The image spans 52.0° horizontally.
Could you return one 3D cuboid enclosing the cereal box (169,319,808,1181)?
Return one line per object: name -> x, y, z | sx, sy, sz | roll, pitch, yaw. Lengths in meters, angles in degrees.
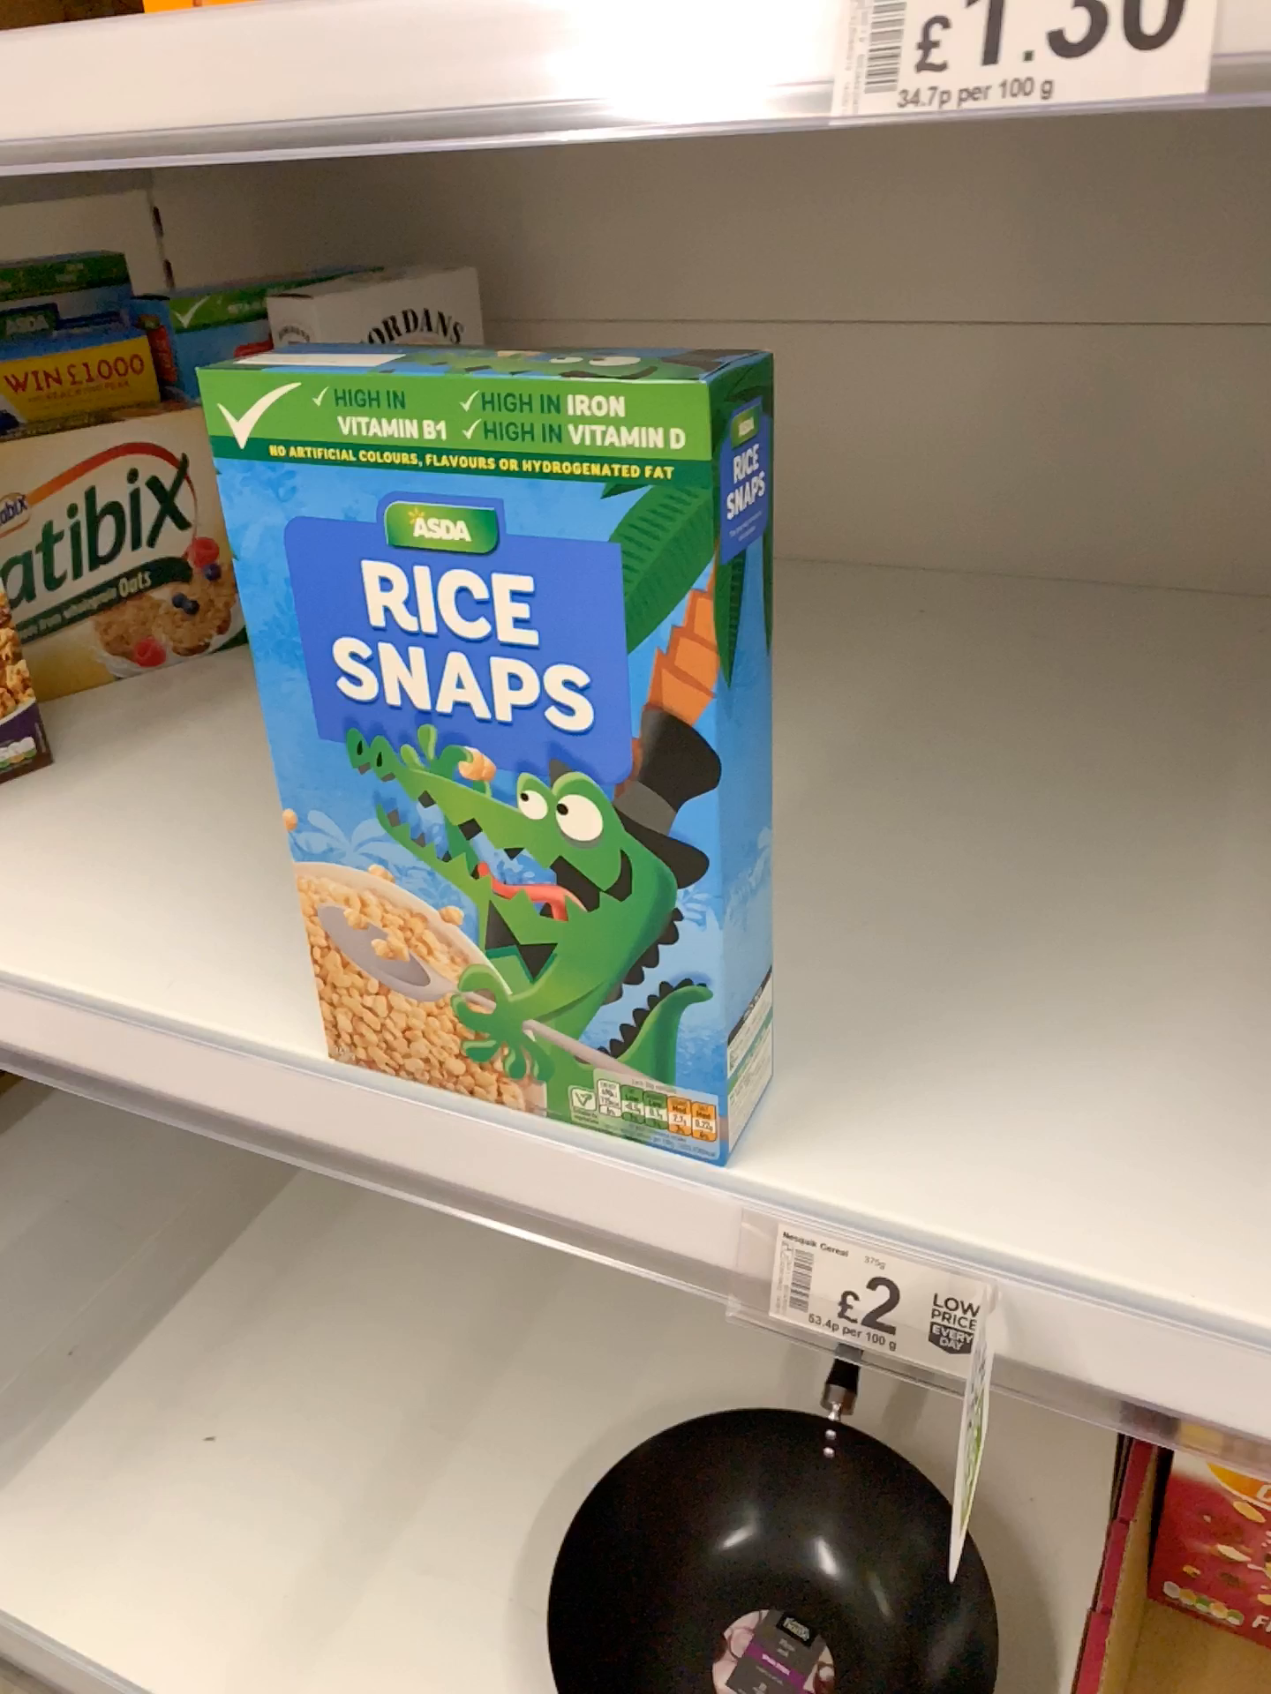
cereal box -> -0.039, -0.034, 0.477 | 0.190, 0.287, 0.071 | 9, 31, 23
